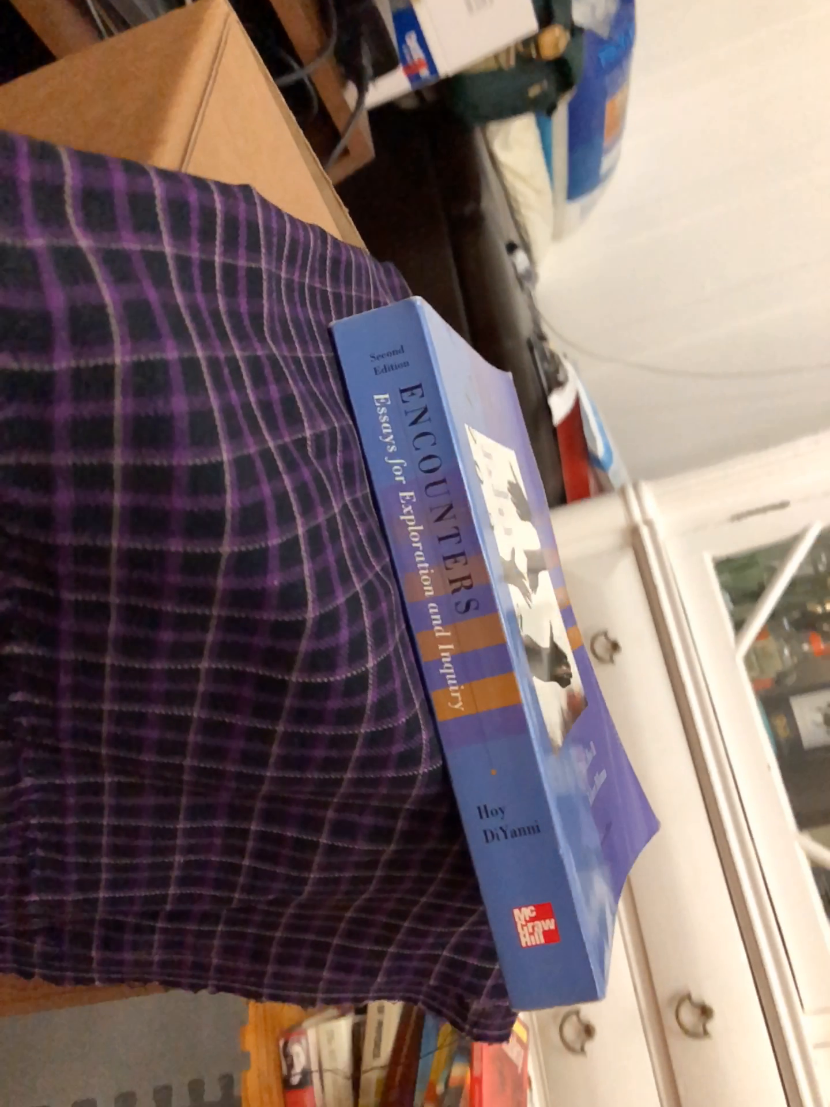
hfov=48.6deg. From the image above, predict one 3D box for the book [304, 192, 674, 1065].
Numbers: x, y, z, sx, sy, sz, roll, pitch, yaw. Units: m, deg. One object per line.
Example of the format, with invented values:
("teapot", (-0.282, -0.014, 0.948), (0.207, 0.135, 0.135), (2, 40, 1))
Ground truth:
("book", (0.045, 0.019, 0.372), (0.201, 0.040, 0.260), (-8, 82, -75))
